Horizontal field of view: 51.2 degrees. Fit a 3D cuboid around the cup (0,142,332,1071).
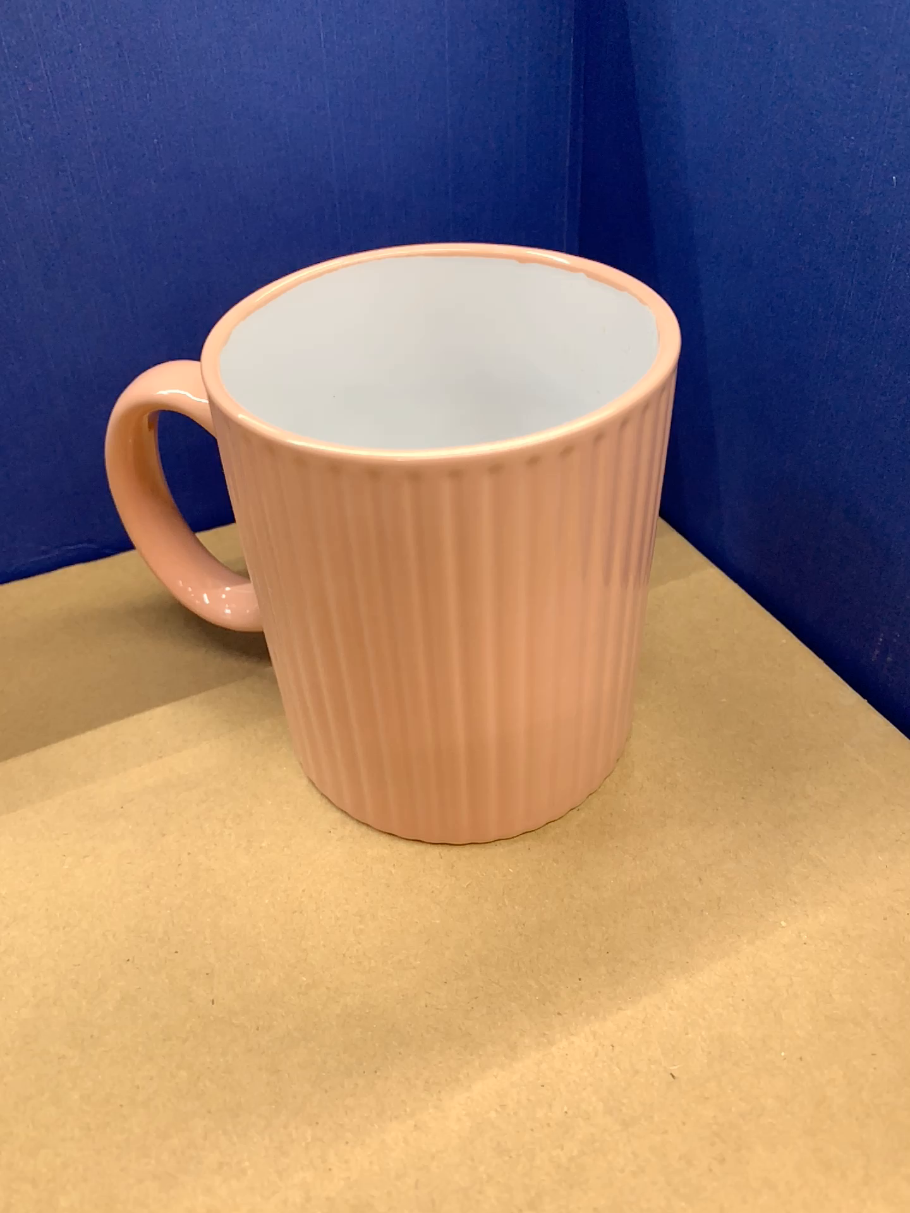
[{"bbox_3d":[-0.122,-0.017,0.188,0.155,0.128,0.102,10,31,19],"label":"cup"}]
